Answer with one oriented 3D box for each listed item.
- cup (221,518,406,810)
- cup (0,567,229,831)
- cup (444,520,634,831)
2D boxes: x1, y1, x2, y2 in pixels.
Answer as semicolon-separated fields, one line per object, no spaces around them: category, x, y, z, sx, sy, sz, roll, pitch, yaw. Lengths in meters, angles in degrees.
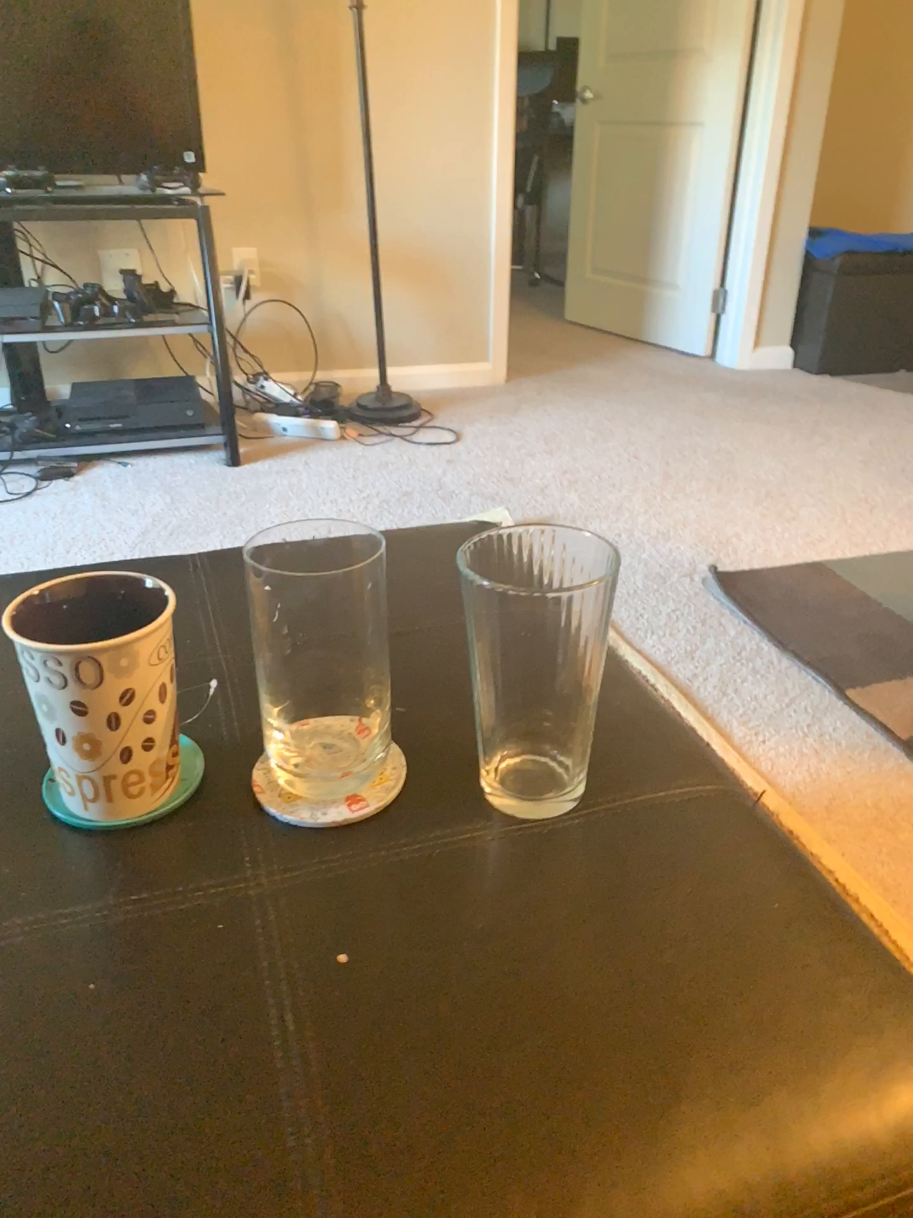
cup;-0.069;0.028;0.491;0.080;0.129;0.080;0;27;0
cup;-0.182;0.044;0.488;0.090;0.099;0.091;0;27;0
cup;0.038;0.034;0.500;0.080;0.139;0.080;0;27;0
